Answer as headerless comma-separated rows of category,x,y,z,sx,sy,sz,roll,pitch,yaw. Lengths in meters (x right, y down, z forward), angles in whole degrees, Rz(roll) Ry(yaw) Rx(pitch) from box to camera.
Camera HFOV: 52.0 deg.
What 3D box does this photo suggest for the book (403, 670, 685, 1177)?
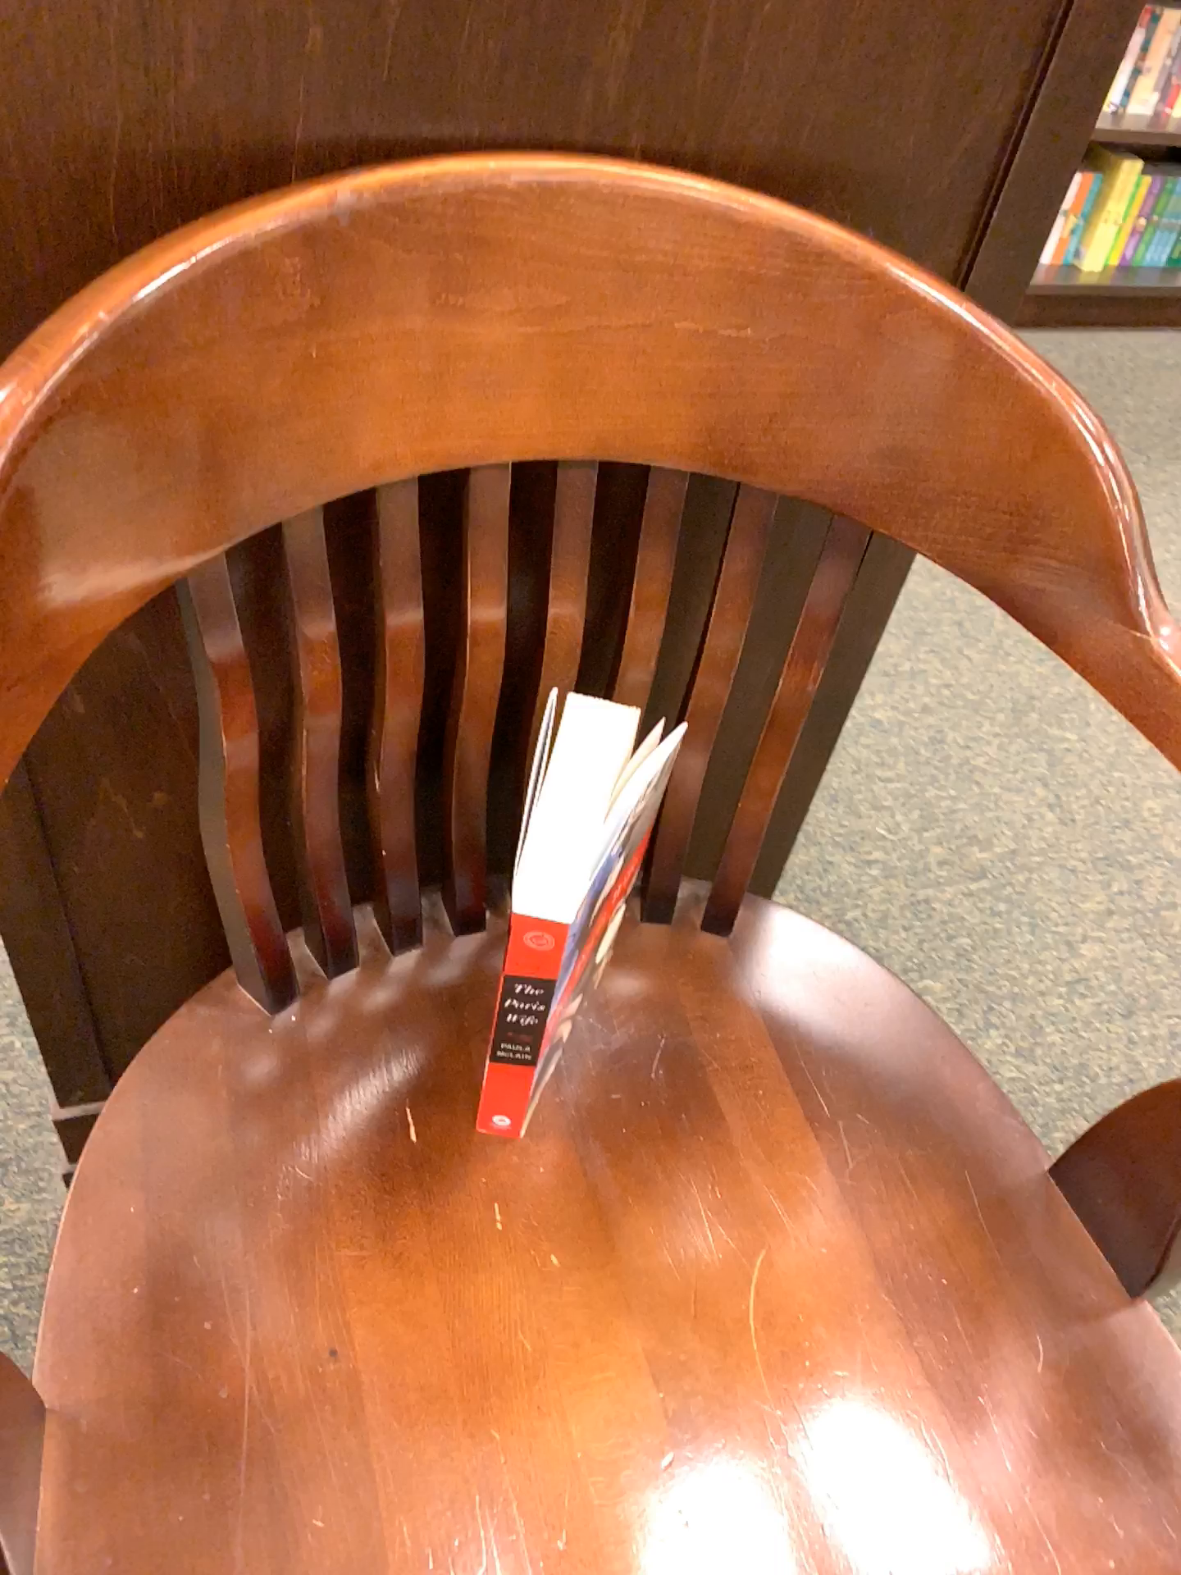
book,-0.026,0.071,0.604,0.071,0.199,0.150,18,47,4
